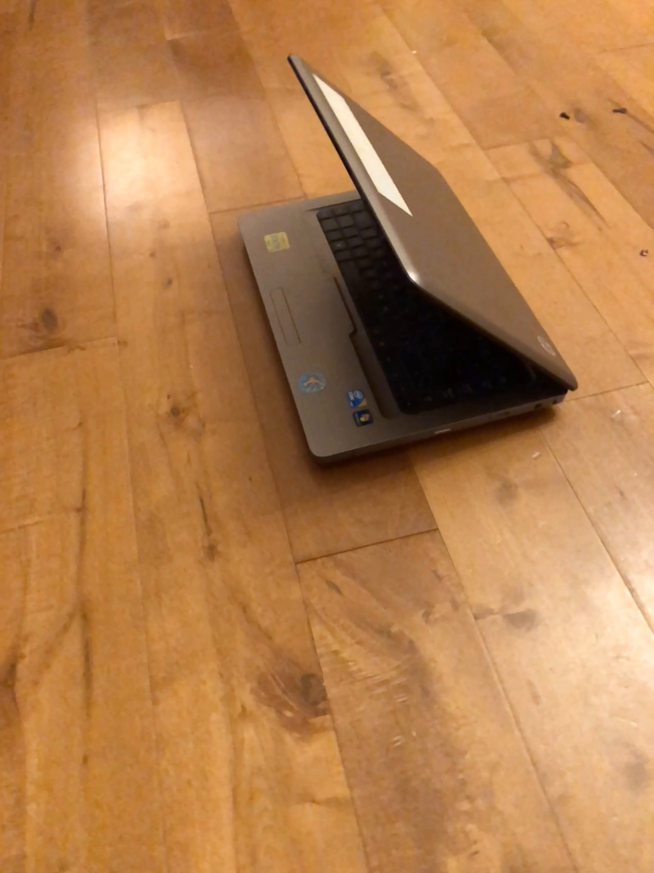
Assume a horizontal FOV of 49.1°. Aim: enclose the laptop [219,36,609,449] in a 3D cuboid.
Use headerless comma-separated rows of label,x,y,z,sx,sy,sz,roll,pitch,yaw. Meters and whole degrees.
laptop,0.052,-0.197,0.675,0.223,0.164,0.348,-14,53,-7
